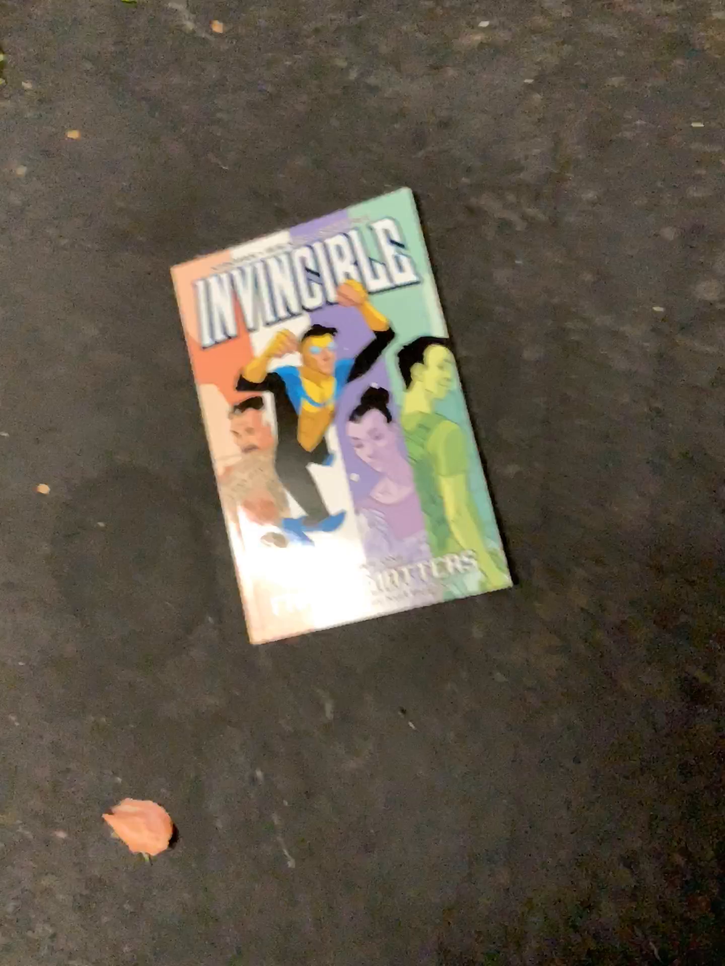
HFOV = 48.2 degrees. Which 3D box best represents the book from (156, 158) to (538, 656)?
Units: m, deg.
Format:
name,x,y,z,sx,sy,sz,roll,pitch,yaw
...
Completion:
name,x,y,z,sx,sy,sz,roll,pitch,yaw
book,-0.017,-0.048,0.505,0.180,0.020,0.270,-16,79,11
